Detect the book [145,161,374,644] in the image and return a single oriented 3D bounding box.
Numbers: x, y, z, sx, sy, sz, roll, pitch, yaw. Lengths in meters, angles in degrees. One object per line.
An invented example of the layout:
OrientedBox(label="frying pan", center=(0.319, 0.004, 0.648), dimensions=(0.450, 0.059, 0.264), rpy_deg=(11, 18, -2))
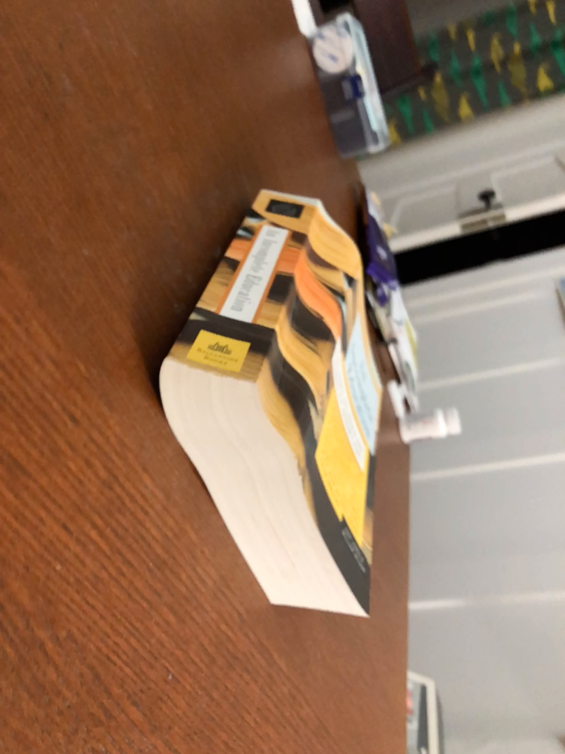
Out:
OrientedBox(label="book", center=(0.012, 0.005, 0.429), dimensions=(0.251, 0.060, 0.210), rpy_deg=(-74, 156, -51))
